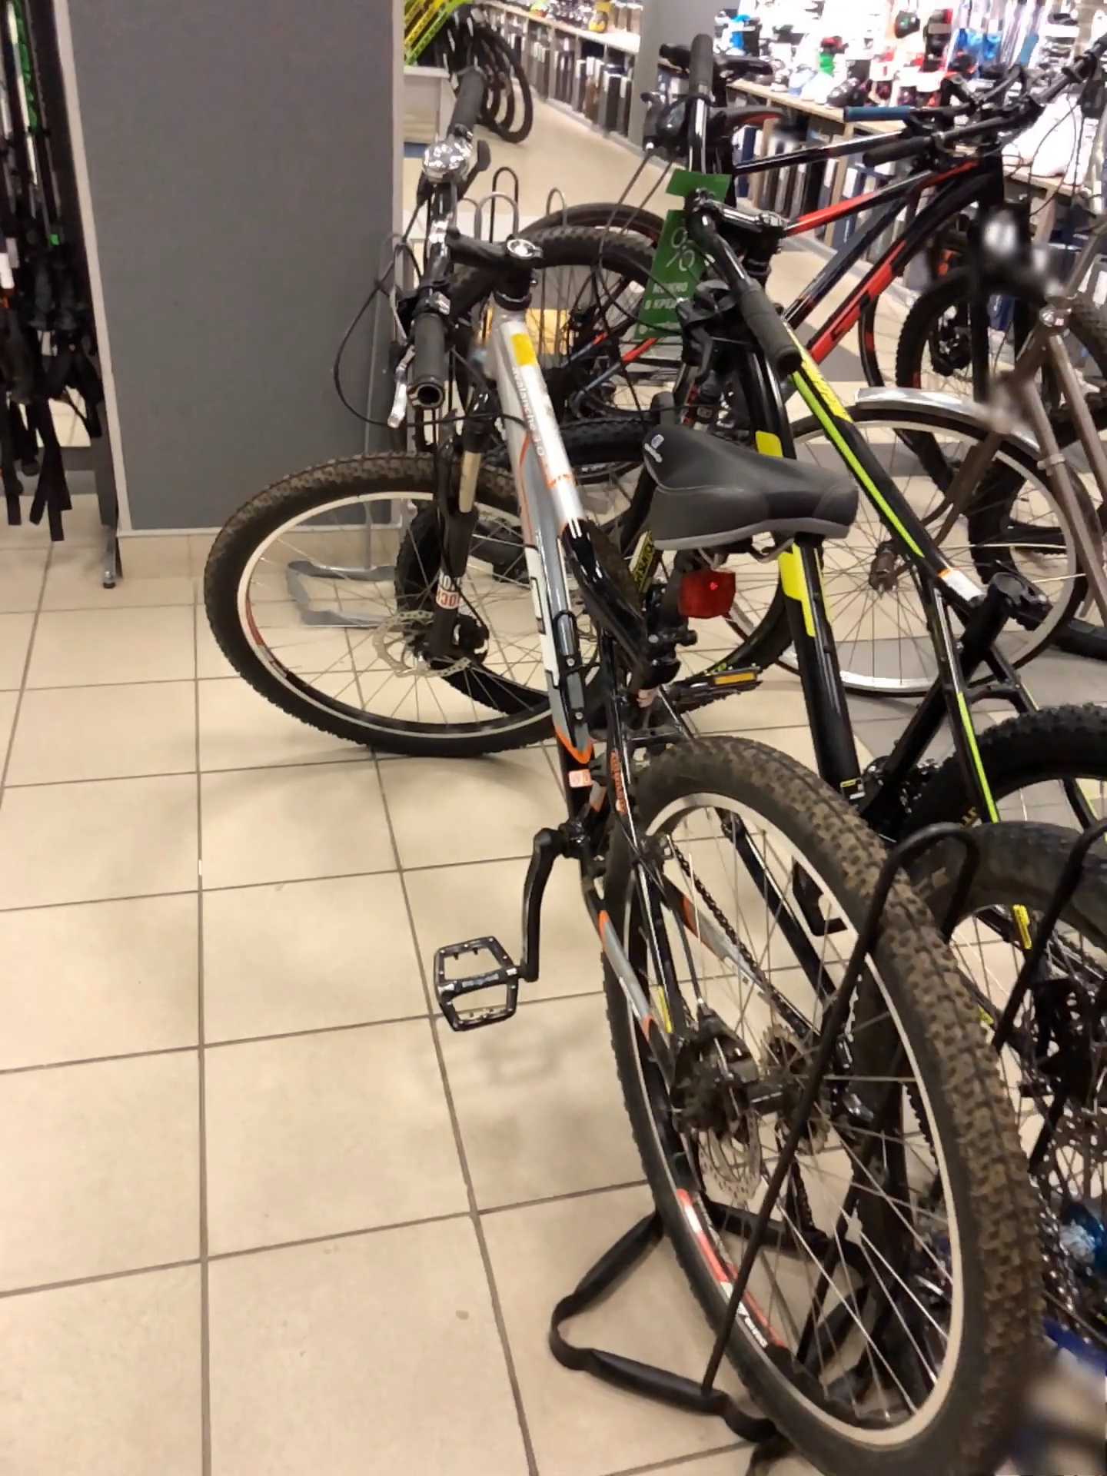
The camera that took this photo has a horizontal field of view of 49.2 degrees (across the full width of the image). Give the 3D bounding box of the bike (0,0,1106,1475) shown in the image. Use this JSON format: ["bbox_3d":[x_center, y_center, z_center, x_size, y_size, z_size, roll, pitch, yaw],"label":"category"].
[{"bbox_3d":[-0.035,-0.060,1.216,0.625,1.012,1.430,-17,41,-31],"label":"bike"}]
